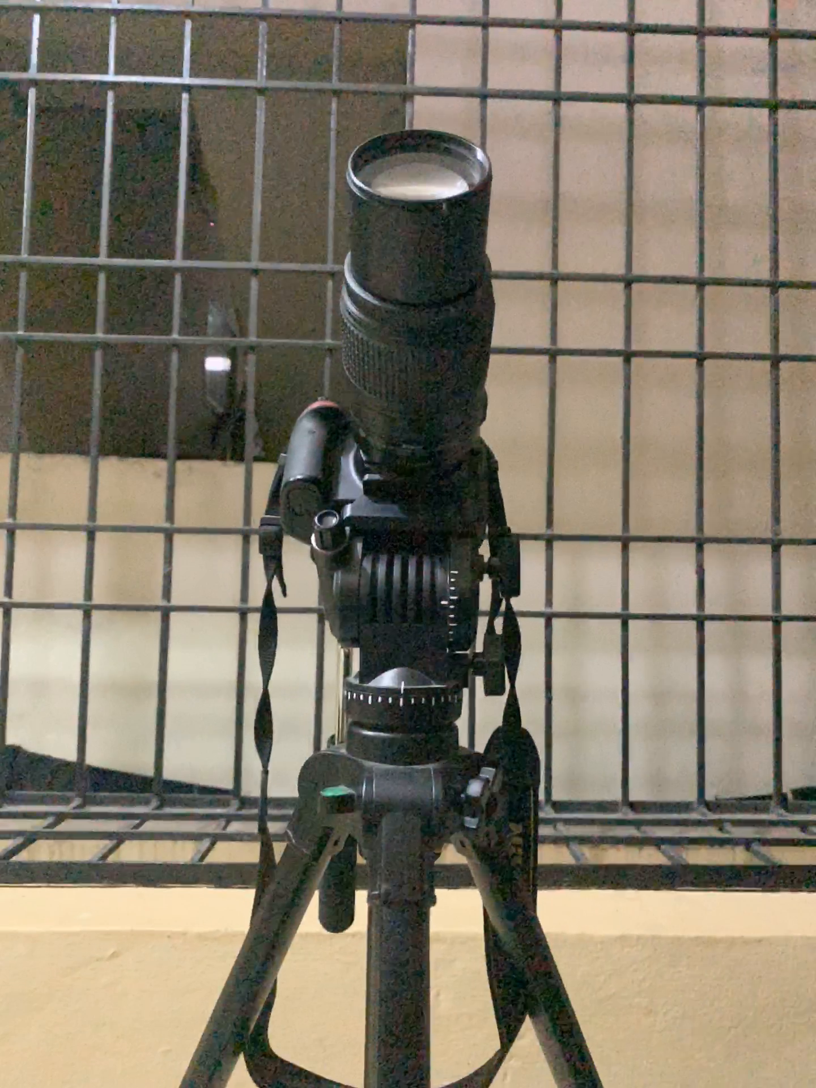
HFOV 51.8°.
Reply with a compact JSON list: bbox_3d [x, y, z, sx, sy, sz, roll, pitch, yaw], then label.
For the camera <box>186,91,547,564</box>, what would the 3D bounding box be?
[{"bbox_3d":[-0.013,-0.099,0.425,0.136,0.101,0.209,1,-43,2],"label":"camera"}]
